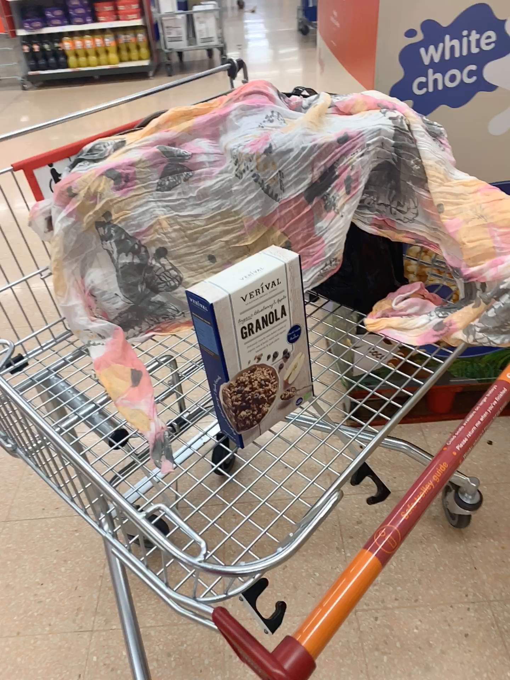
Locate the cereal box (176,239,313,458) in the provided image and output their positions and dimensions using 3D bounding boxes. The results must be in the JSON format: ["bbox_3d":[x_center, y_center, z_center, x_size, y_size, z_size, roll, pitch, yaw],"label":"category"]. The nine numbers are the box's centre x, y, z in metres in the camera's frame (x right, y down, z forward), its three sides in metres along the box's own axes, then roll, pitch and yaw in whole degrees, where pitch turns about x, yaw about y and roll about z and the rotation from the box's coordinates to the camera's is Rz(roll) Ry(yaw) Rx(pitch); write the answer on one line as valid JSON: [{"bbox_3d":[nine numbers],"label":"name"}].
[{"bbox_3d":[-0.002,0.013,0.635,0.141,0.228,0.050,-31,41,-29],"label":"cereal box"}]
